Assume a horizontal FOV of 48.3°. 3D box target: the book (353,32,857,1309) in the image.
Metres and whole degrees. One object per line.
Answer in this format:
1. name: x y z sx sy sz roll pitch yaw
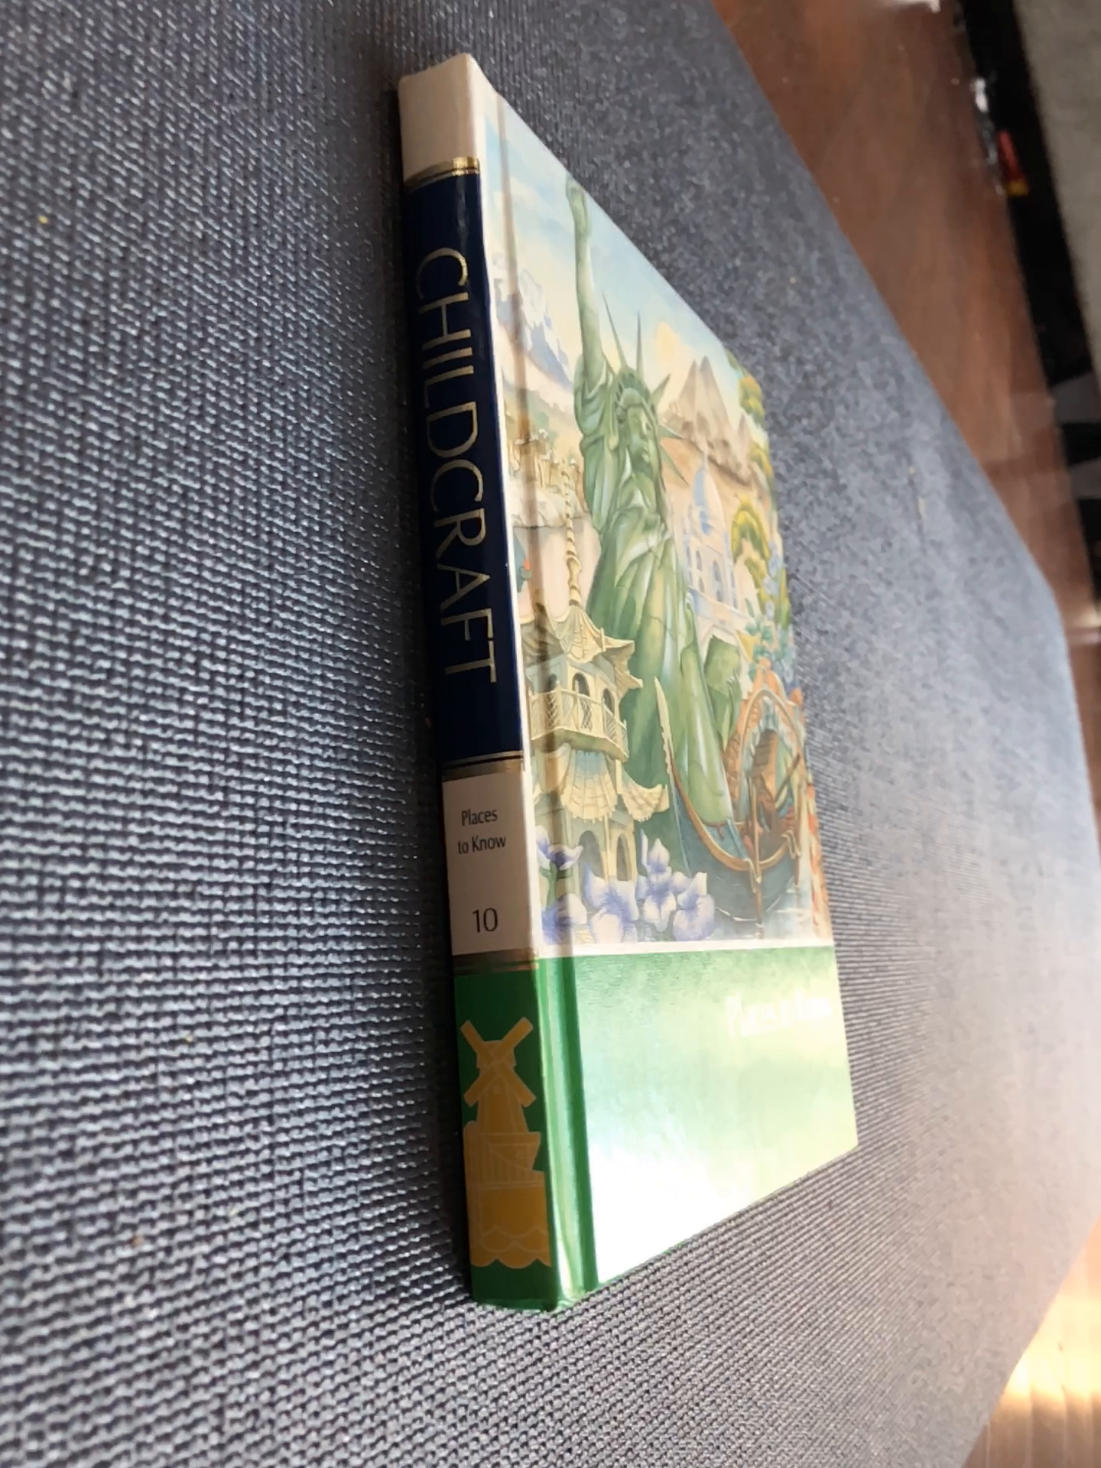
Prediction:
1. book: 0.025 -0.009 0.322 0.191 0.030 0.250 17 66 -61
